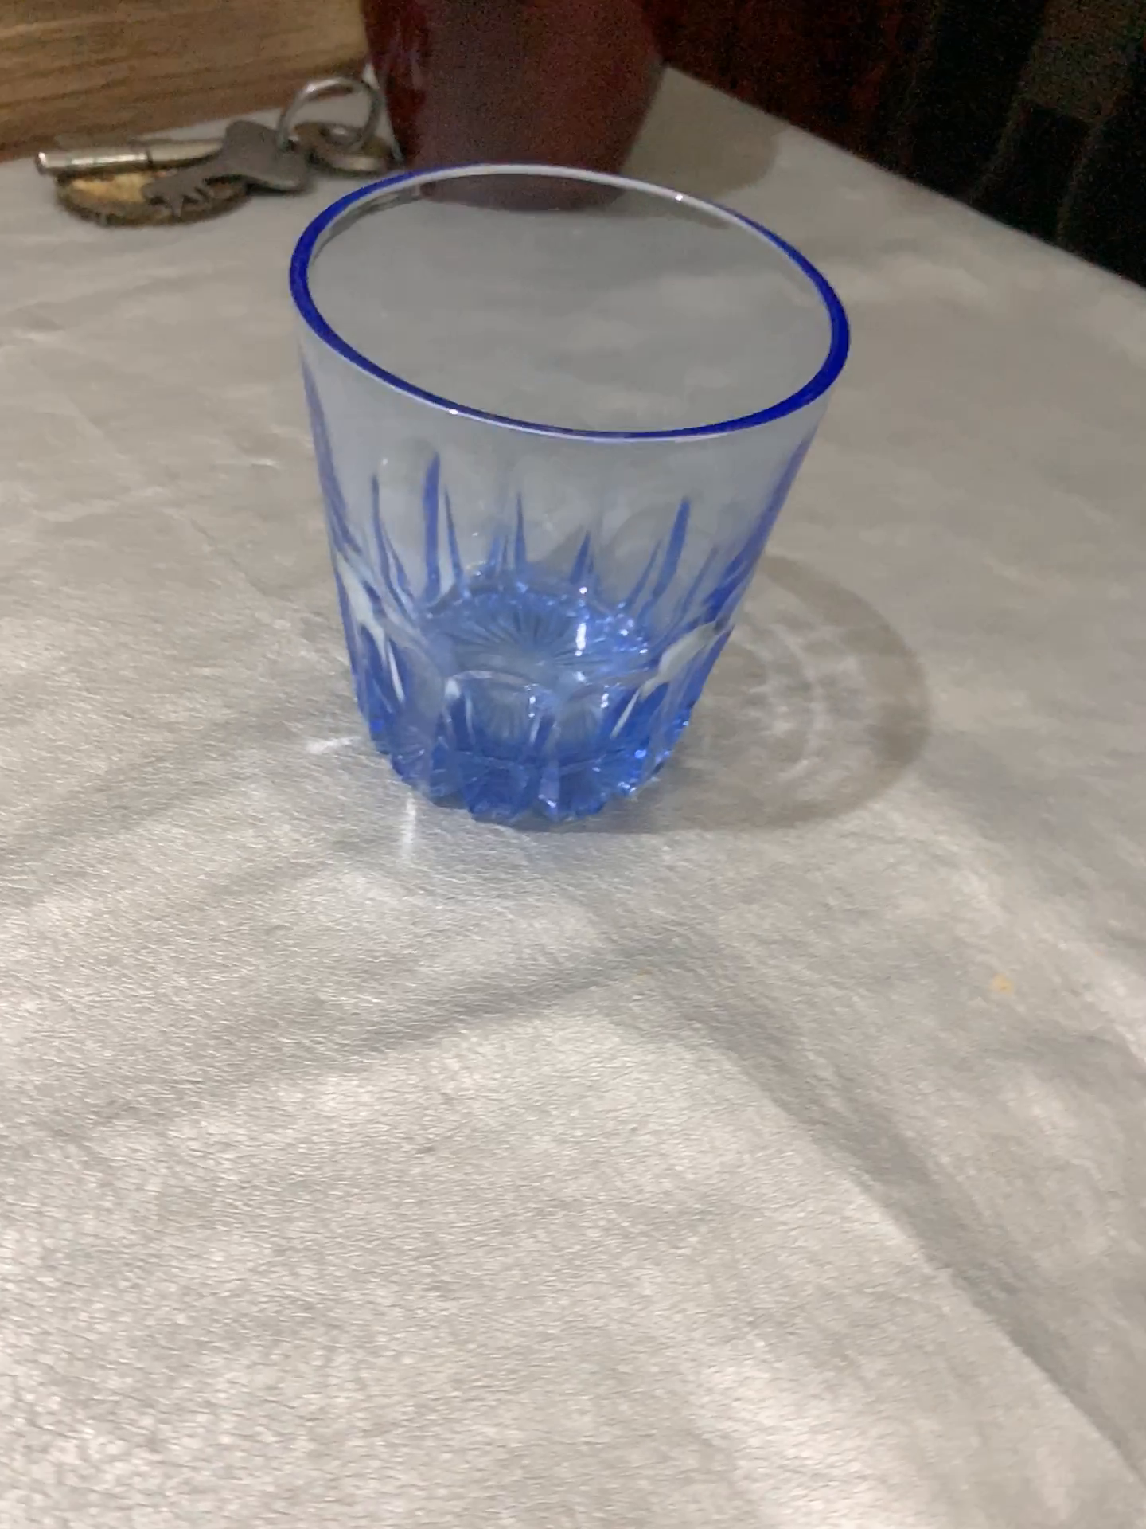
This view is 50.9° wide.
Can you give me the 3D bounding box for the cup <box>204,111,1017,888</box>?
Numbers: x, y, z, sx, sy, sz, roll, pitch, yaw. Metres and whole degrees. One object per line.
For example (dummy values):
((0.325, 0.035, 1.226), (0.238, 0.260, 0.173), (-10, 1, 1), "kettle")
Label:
((-0.001, -0.040, 0.187), (0.090, 0.070, 0.090), (5, 49, -6), "cup")
